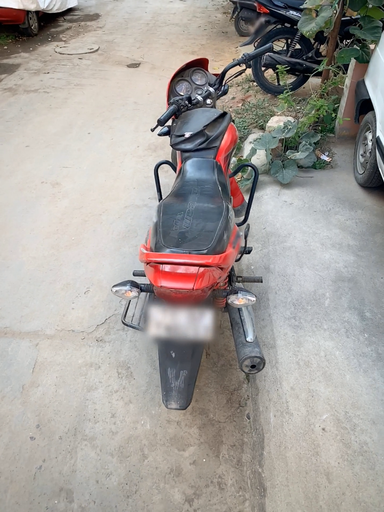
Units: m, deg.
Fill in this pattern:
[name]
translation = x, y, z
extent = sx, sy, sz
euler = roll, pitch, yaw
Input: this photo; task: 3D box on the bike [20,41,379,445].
[bike]
translation = -0.035, -0.216, 1.847
extent = 0.758, 1.091, 1.716
euler = -2, 41, -2
